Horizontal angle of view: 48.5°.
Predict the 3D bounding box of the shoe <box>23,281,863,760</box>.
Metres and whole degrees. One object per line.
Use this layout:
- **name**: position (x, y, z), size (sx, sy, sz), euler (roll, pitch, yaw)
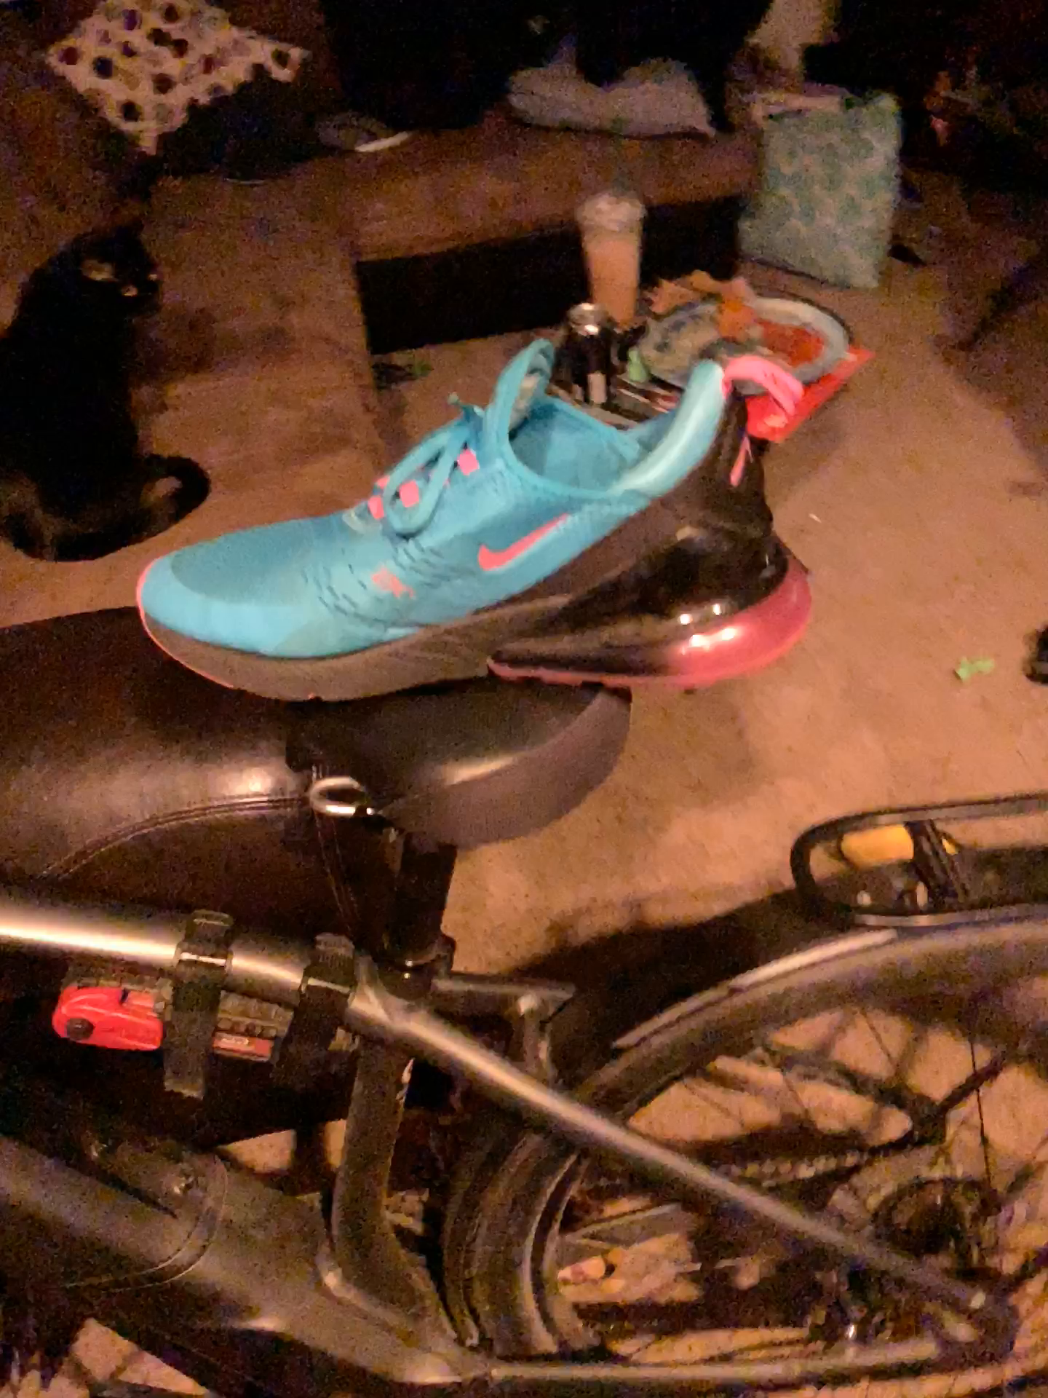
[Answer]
- **shoe**: position (-0.031, -0.087, 0.553), size (0.330, 0.130, 0.150), euler (-6, 41, 1)
